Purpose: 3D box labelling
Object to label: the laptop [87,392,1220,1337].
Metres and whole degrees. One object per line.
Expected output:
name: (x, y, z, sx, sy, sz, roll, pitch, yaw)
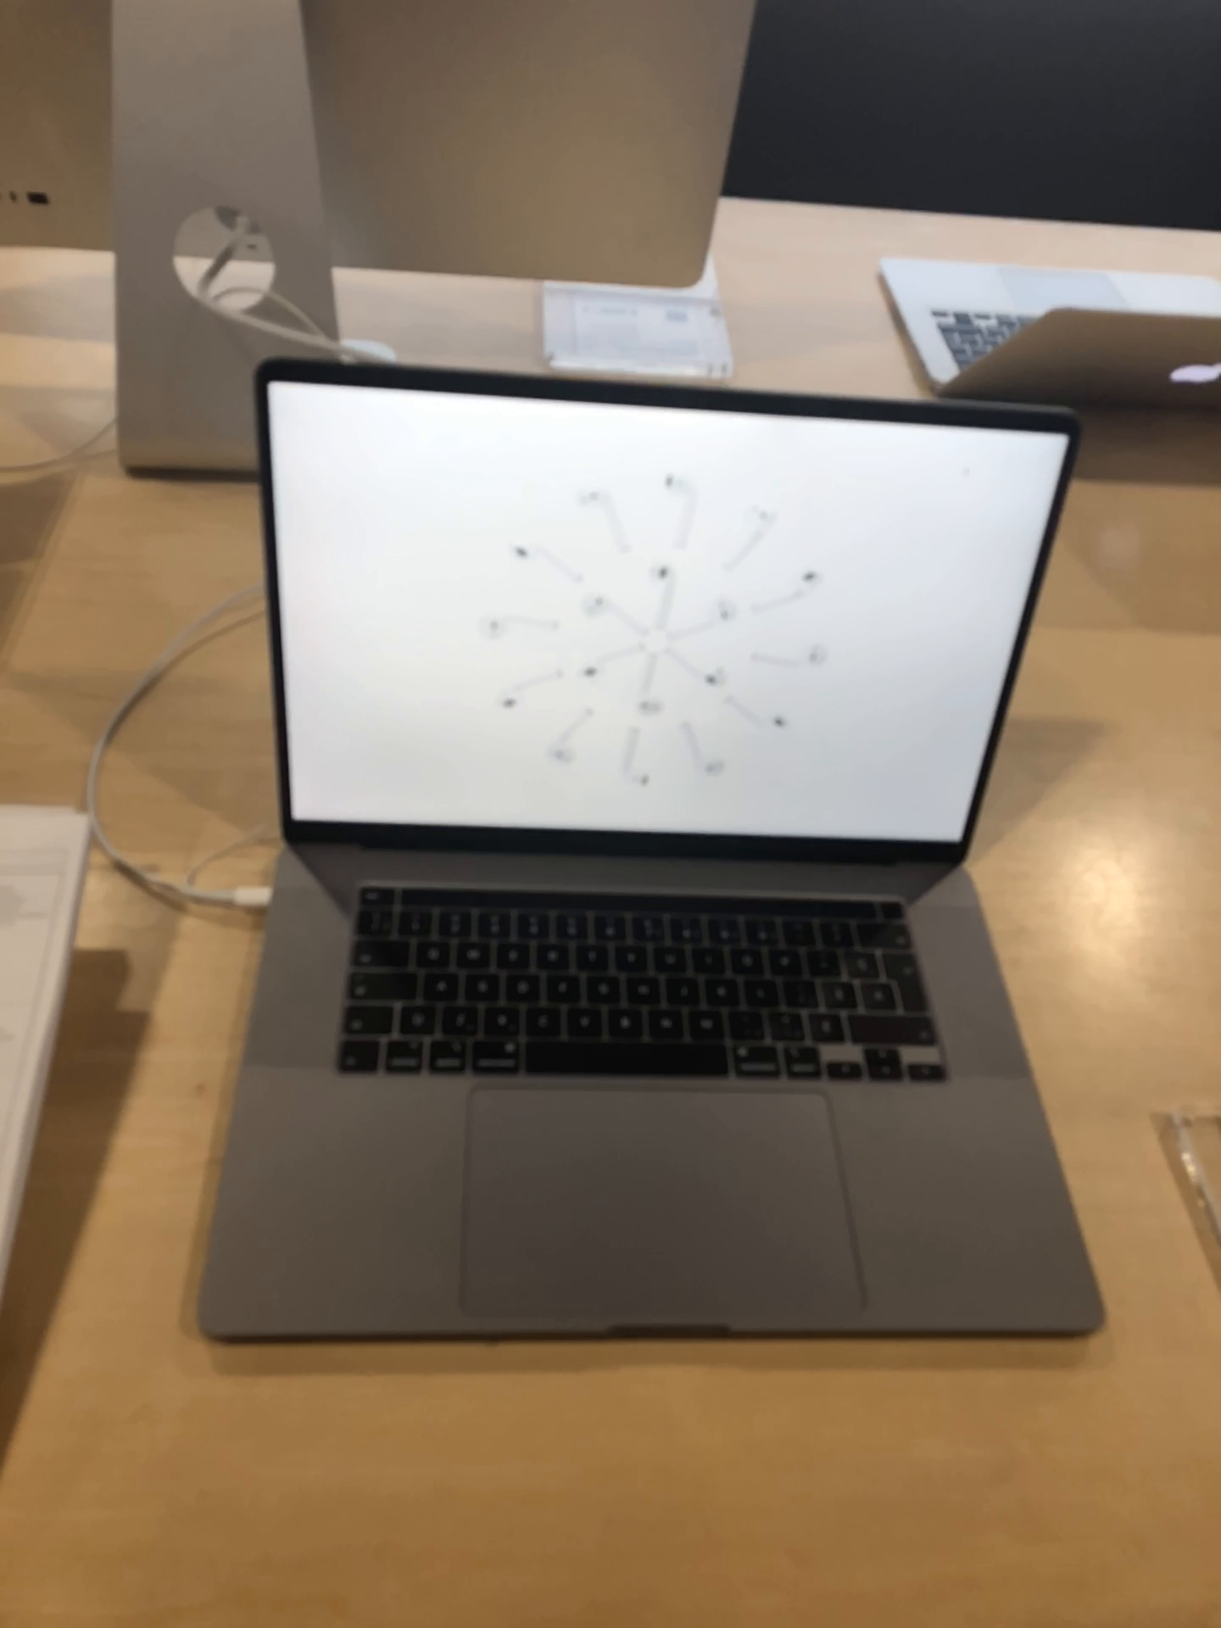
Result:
laptop: (0.028, 0.014, 0.528, 0.344, 0.227, 0.293, 1, 46, -5)
